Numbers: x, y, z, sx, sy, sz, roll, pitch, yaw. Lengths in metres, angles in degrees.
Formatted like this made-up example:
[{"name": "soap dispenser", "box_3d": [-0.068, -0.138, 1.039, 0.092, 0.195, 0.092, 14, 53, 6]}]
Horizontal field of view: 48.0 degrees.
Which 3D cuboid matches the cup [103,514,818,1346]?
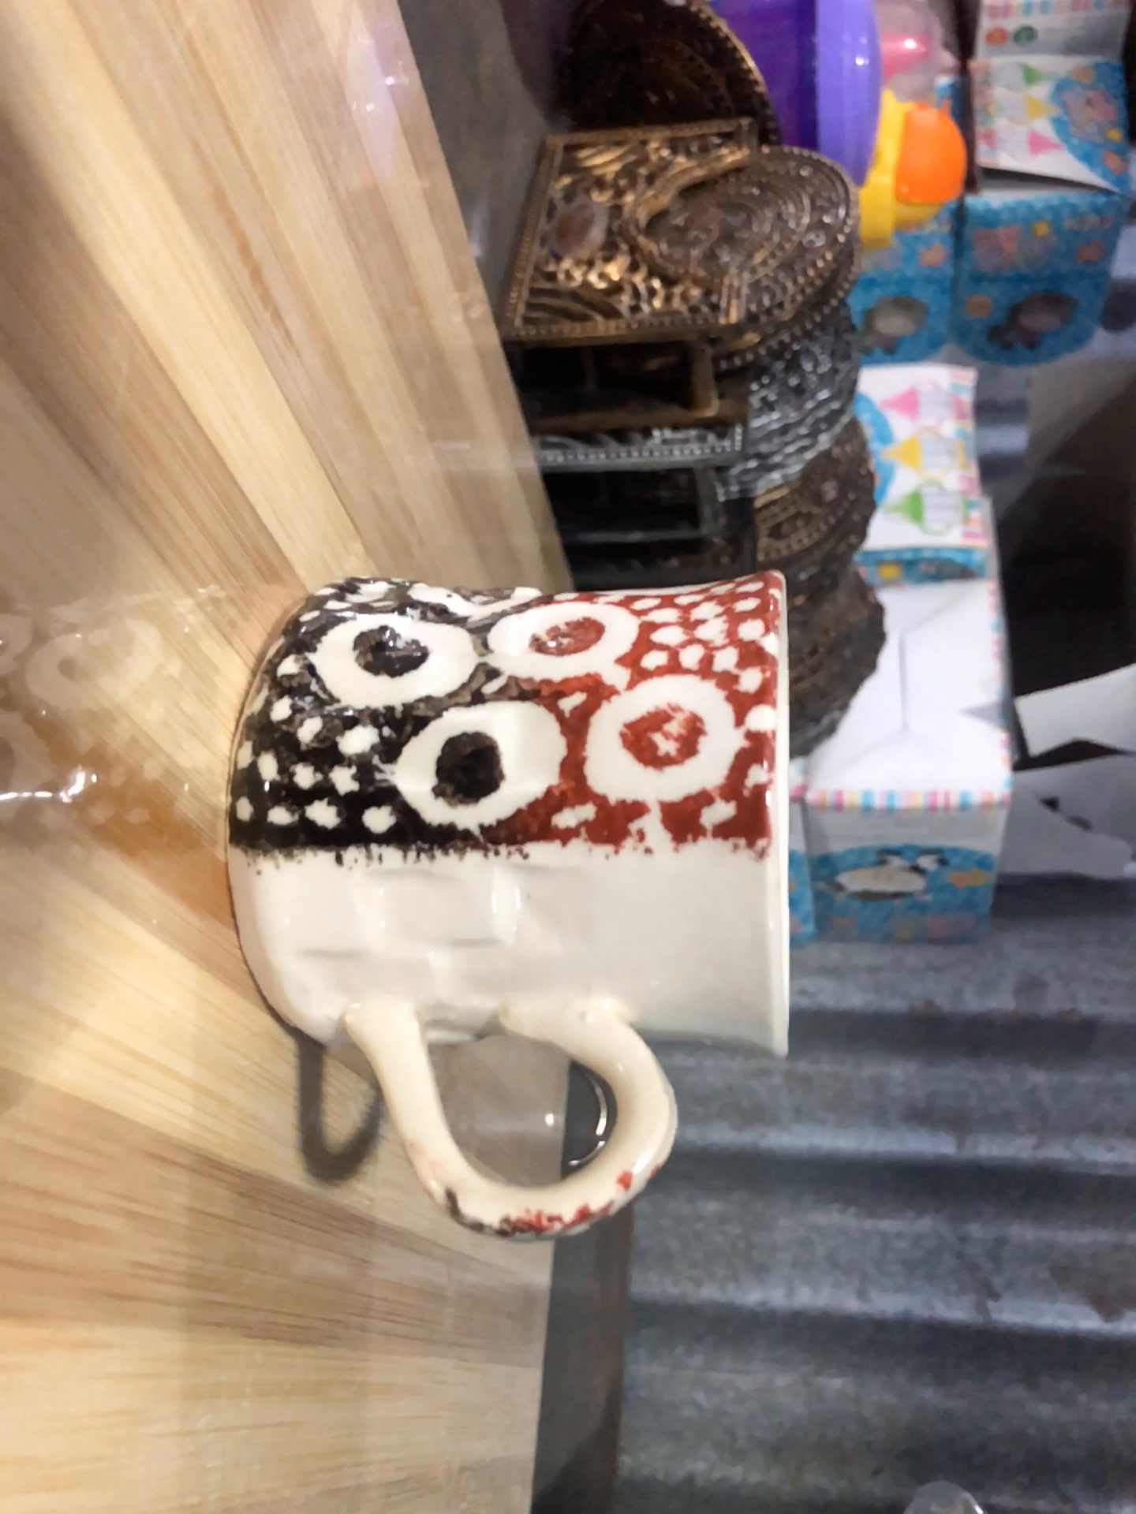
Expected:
[{"name": "cup", "box_3d": [-0.003, 0.023, 0.170, 0.060, 0.070, 0.090, 75, 19, -58]}]
